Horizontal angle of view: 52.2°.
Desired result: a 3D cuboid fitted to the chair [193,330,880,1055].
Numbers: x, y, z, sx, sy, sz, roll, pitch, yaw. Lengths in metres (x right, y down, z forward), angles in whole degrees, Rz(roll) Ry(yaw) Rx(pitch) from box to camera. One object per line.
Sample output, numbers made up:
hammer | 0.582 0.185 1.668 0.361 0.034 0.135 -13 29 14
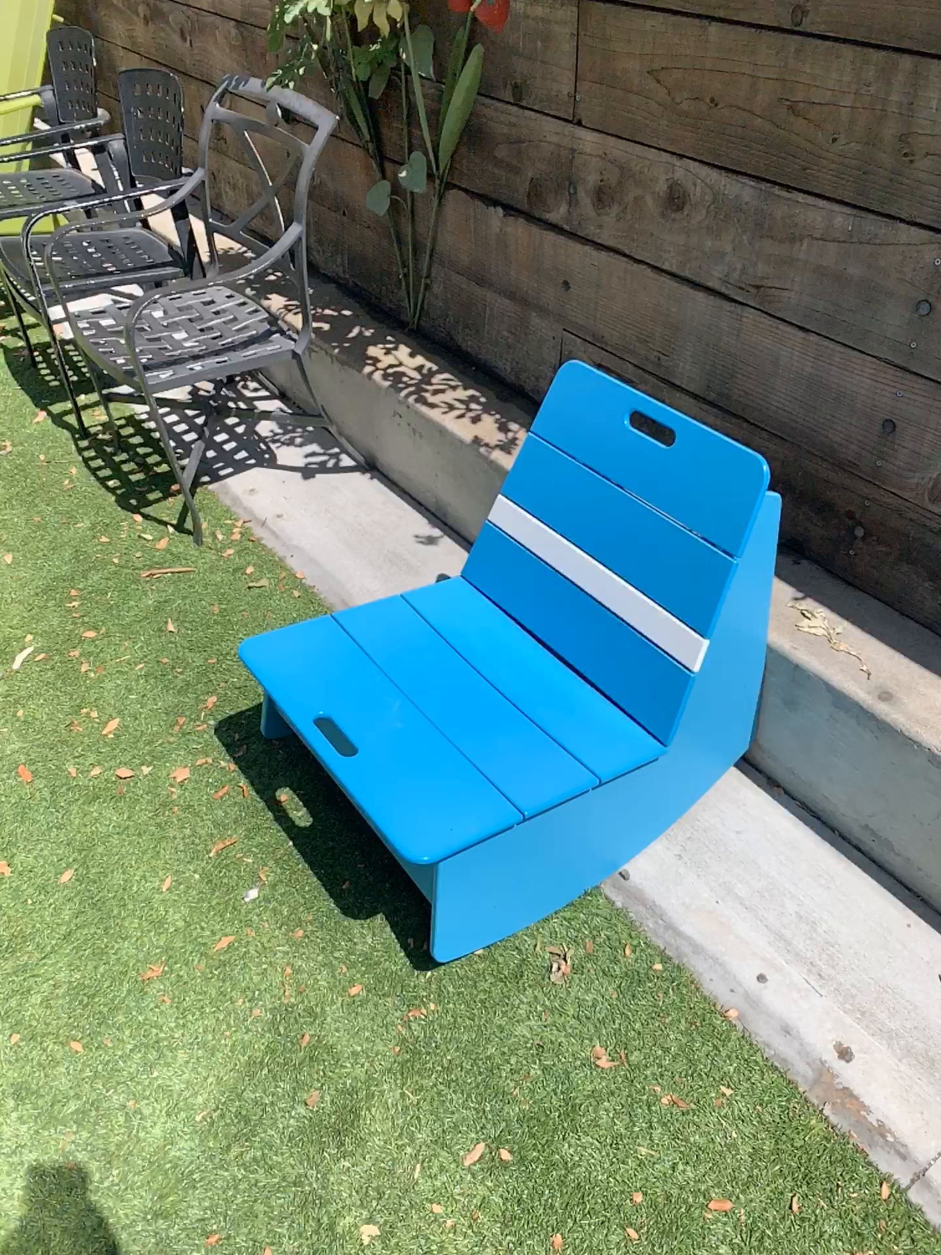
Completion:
chair | 0.087 0.073 1.552 0.720 0.746 0.593 -25 46 -23
